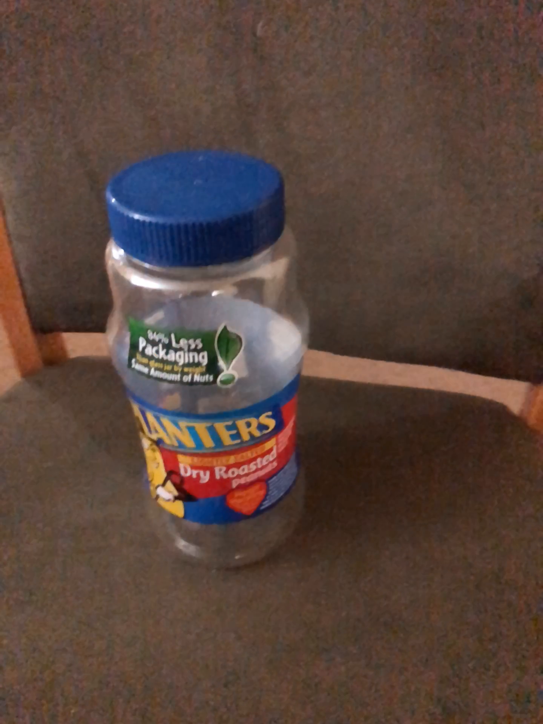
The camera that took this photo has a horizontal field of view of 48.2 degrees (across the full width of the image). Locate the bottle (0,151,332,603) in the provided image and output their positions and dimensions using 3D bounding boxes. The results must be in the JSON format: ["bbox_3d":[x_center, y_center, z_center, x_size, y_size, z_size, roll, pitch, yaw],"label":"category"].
[{"bbox_3d":[-0.030,0.012,0.260,0.090,0.169,0.080,9,40,12],"label":"bottle"}]
